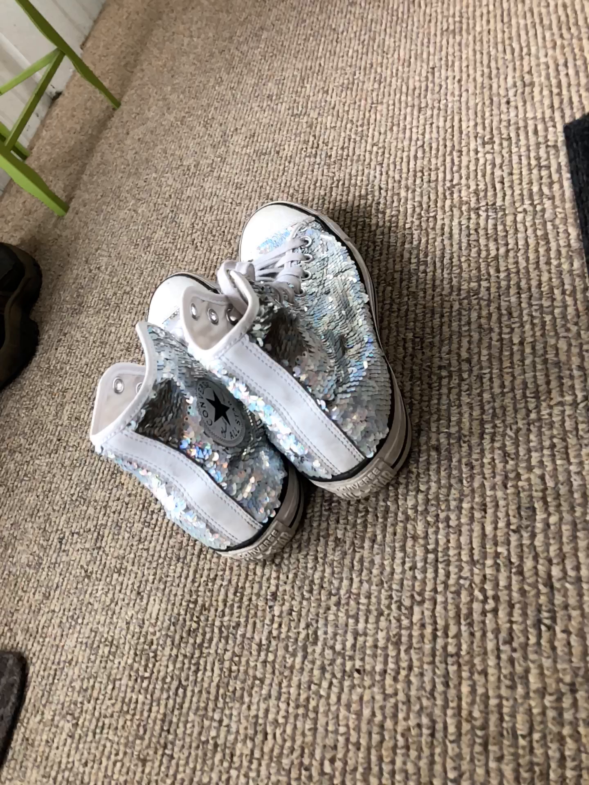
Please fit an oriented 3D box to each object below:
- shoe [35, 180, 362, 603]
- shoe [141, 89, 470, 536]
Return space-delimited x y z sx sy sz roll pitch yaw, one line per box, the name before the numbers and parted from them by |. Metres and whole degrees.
shoe | -0.082 -0.015 0.457 0.111 0.137 0.265 -38 42 8
shoe | -0.009 -0.066 0.429 0.111 0.127 0.265 -32 44 15
